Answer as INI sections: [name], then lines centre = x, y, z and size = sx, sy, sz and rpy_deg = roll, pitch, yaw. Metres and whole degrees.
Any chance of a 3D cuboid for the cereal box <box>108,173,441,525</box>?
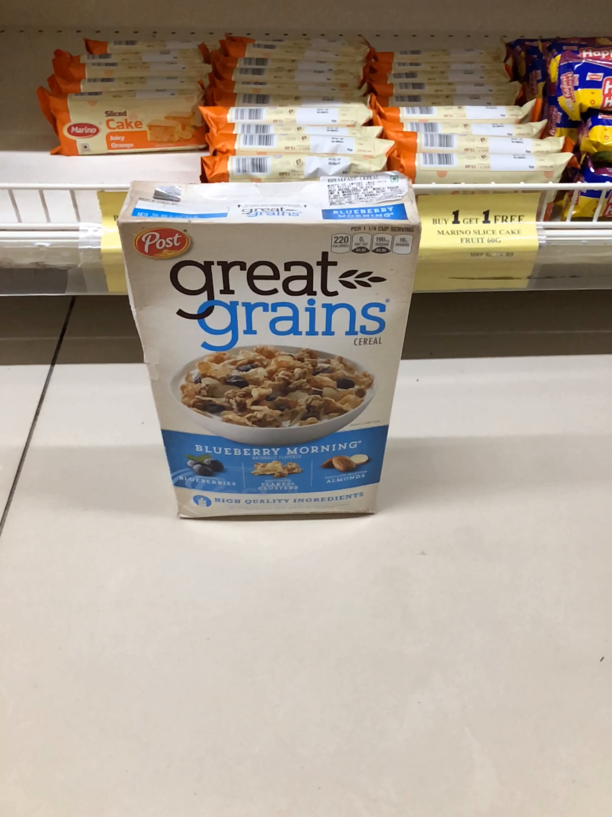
[cereal box]
centre = -0.018, -0.023, 0.459
size = 0.170, 0.258, 0.060
rpy_deg = -1, 46, -3
